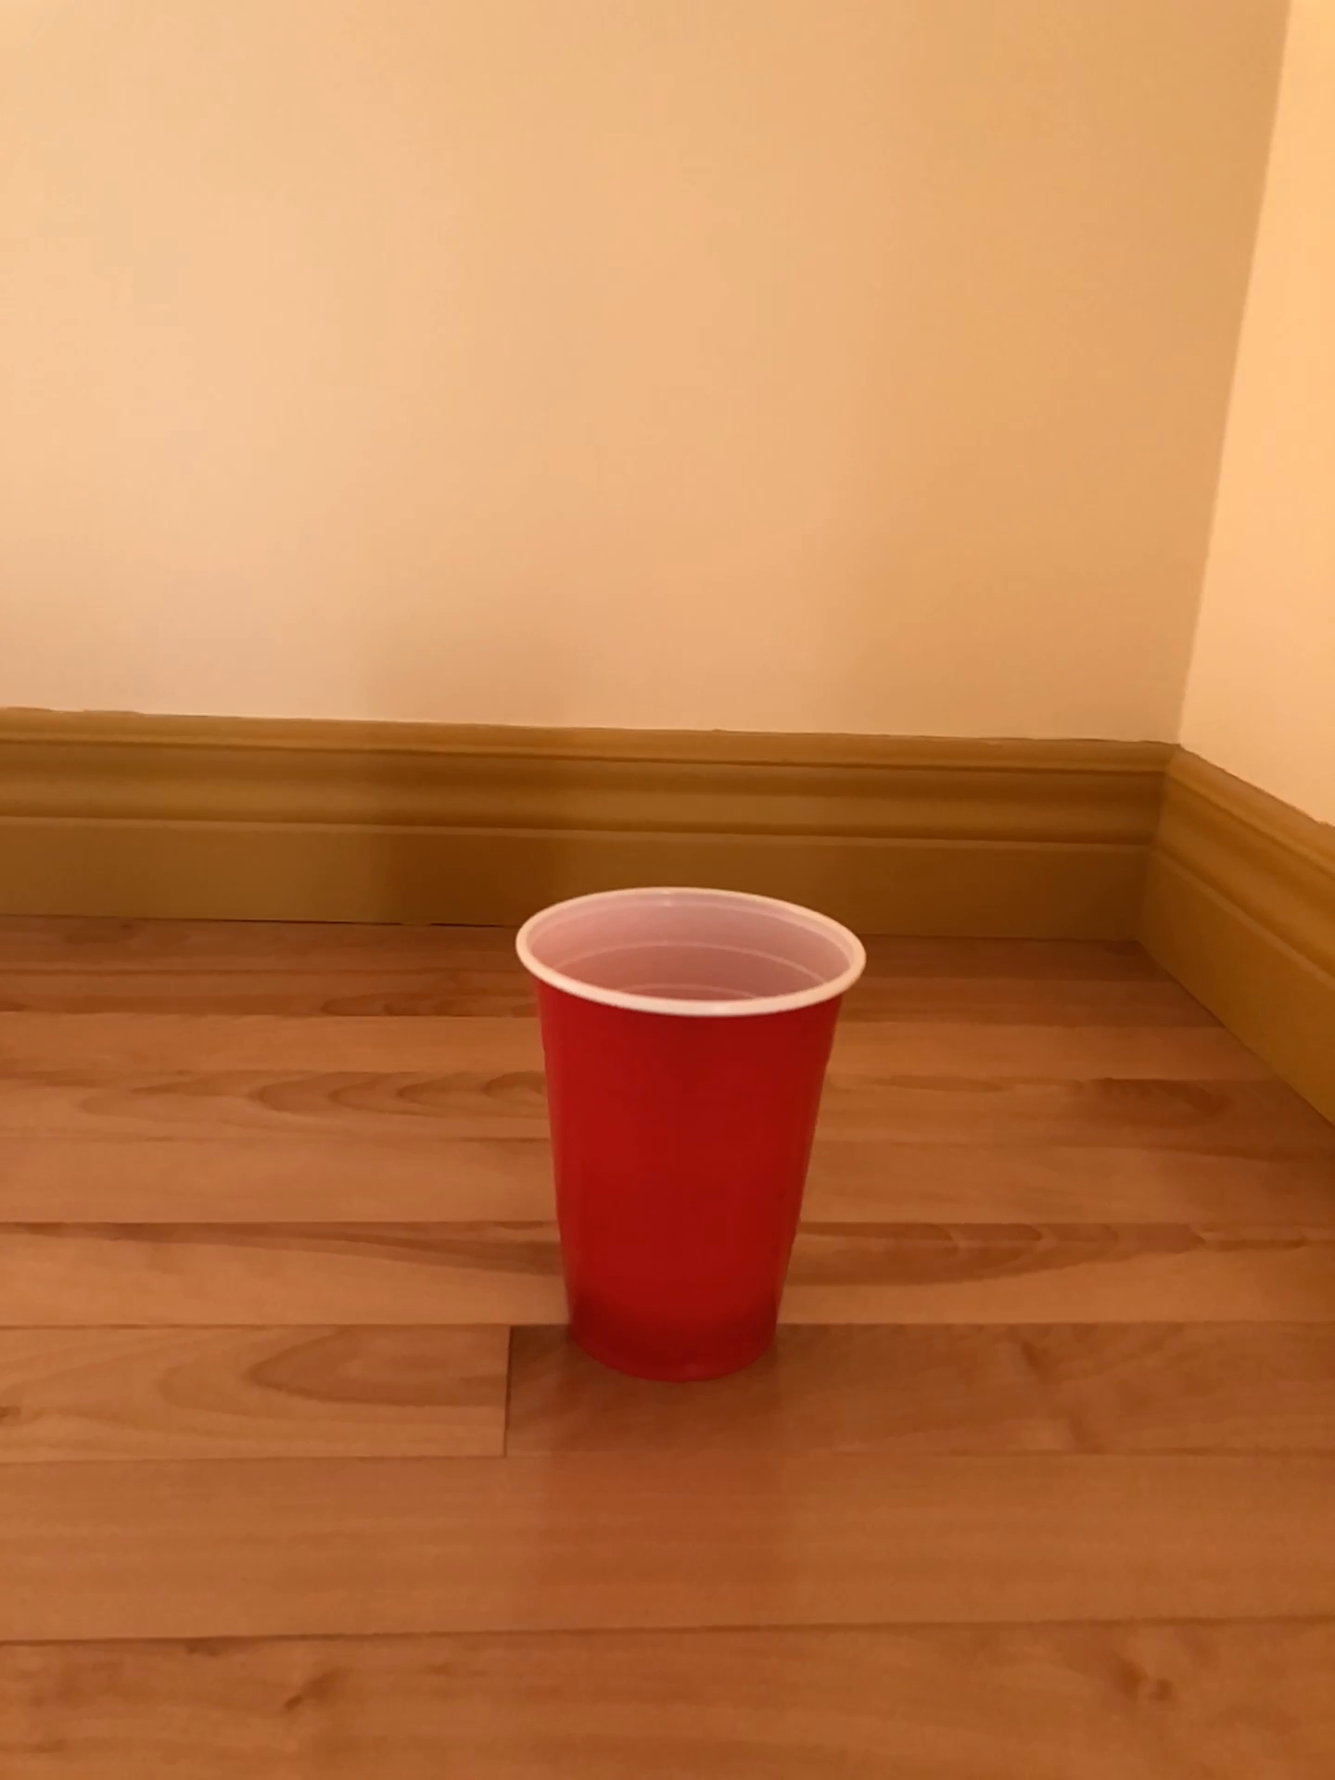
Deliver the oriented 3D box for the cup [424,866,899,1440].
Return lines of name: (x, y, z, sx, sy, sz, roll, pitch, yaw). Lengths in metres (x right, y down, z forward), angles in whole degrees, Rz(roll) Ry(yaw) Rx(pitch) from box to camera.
cup: (0.001, 0.065, 0.411, 0.100, 0.110, 0.100, 2, 17, -1)
